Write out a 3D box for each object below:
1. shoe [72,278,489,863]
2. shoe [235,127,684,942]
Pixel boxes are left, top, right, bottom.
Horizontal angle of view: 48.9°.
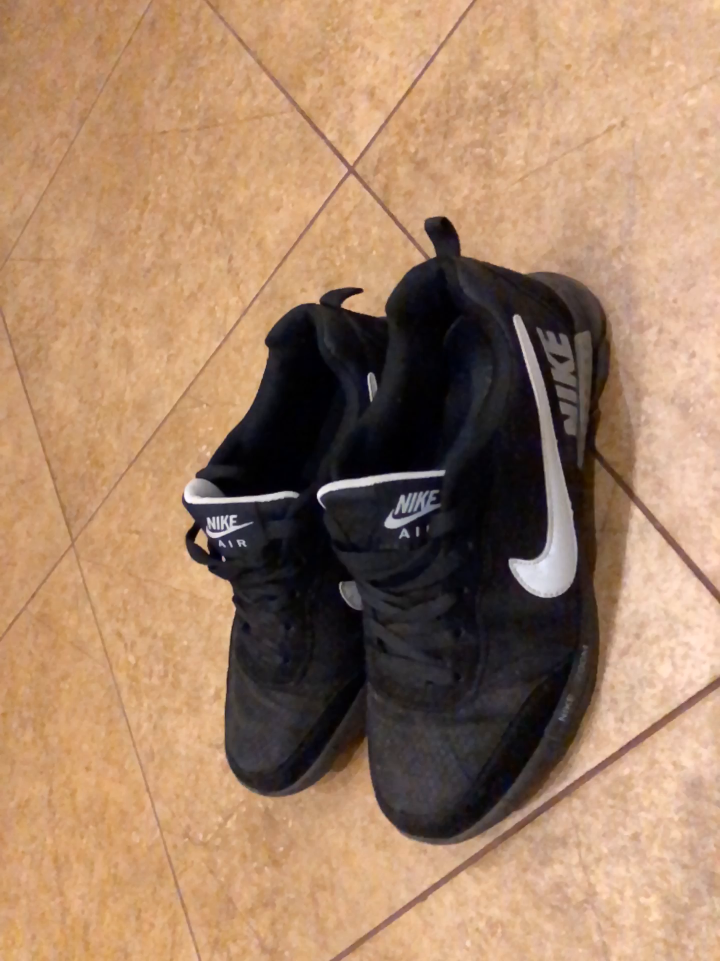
[{"bbox_3d":[-0.042,0.042,0.439,0.111,0.119,0.270,16,90,43],"label":"shoe"},{"bbox_3d":[0.052,0.019,0.373,0.121,0.119,0.300,4,83,42],"label":"shoe"}]
